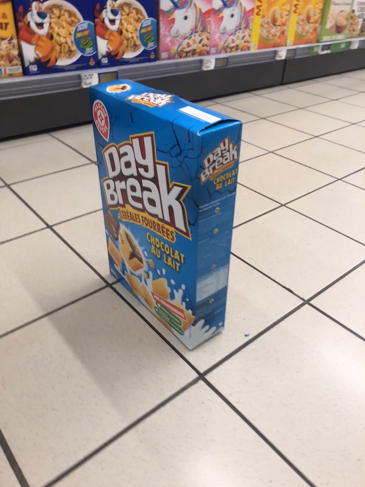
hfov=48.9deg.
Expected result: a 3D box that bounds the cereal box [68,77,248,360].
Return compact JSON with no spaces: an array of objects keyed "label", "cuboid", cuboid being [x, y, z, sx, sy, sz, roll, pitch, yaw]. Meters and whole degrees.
[{"label":"cereal box","cuboid":[-0.037,-0.032,0.464,0.070,0.258,0.200,-24,42,-32]}]
